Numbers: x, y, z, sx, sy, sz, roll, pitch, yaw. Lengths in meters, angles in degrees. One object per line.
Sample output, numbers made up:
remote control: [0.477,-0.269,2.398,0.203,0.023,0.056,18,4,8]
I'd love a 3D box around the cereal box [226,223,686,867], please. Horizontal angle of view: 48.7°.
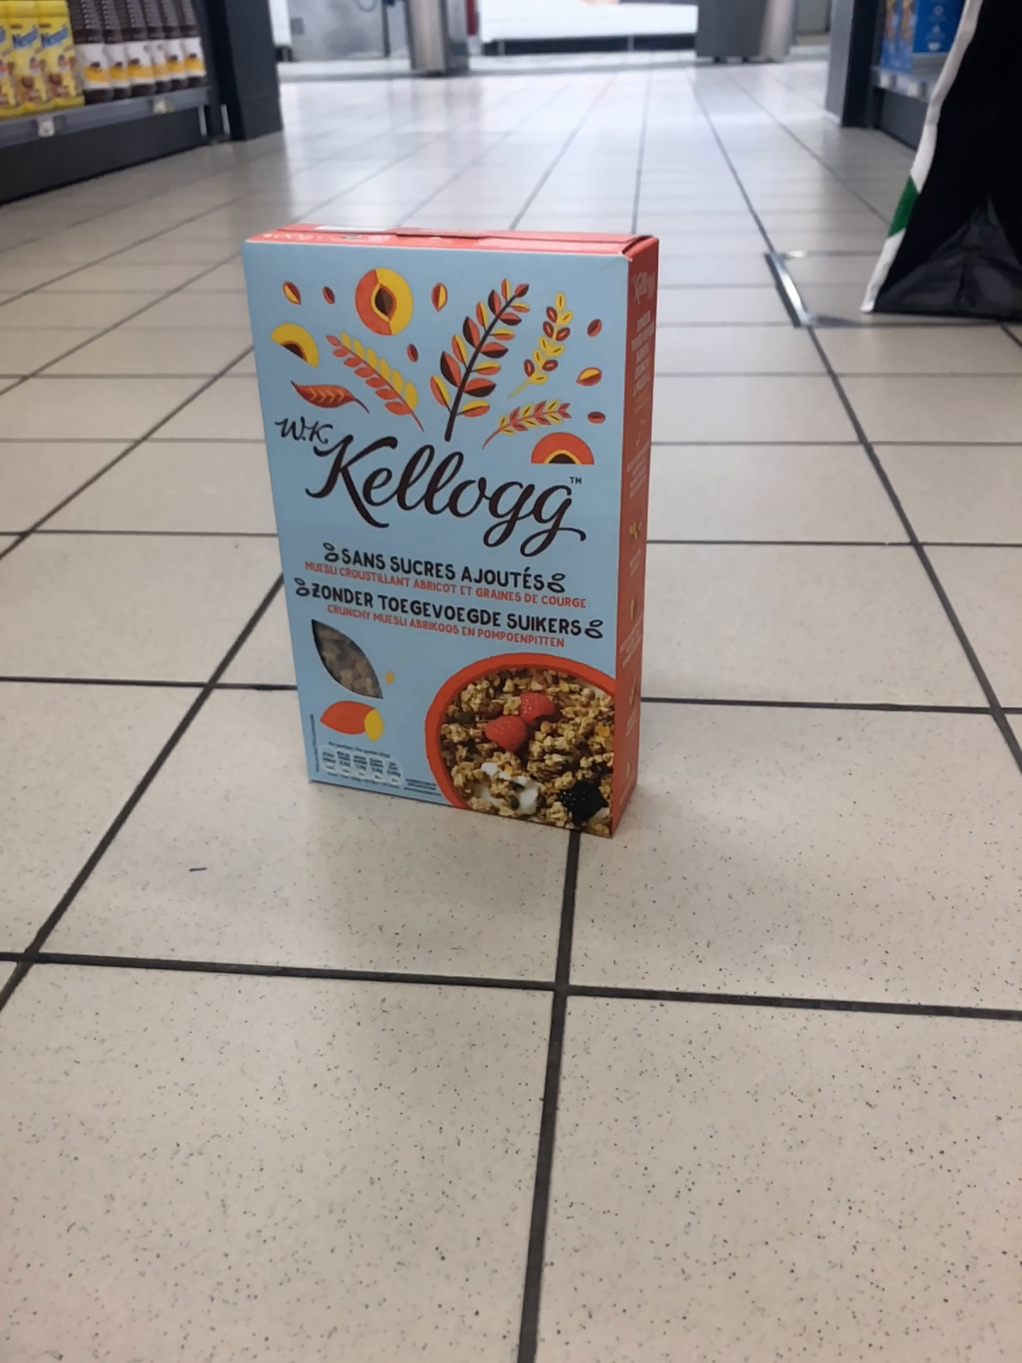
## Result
cereal box: [-0.017,-0.051,0.439,0.150,0.229,0.050,9,29,19]
